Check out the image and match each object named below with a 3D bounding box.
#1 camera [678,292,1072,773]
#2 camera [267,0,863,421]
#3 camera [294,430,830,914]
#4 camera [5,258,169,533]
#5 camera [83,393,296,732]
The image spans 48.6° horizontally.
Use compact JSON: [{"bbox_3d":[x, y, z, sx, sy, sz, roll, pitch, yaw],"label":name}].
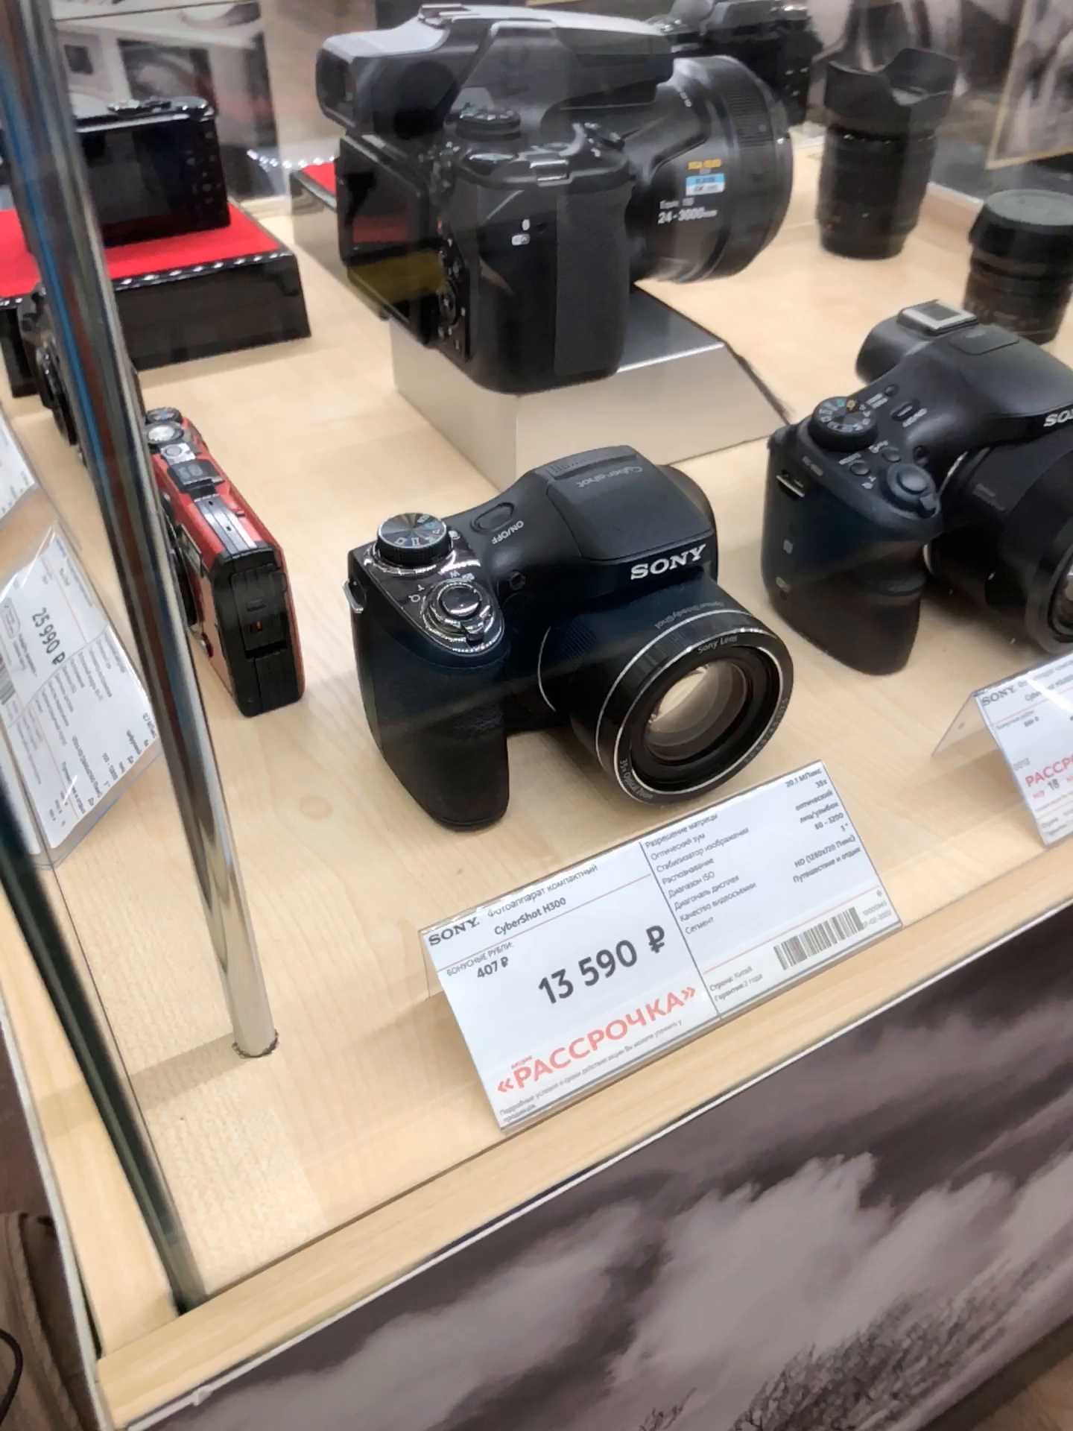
[{"bbox_3d":[0.141,-0.073,0.428,0.124,0.097,0.125,-19,44,-22],"label":"camera"},{"bbox_3d":[0.007,-0.208,0.457,0.168,0.106,0.132,-21,45,-23],"label":"camera"},{"bbox_3d":[0.005,-0.019,0.364,0.124,0.078,0.092,-19,44,-22],"label":"camera"},{"bbox_3d":[-0.187,-0.135,0.491,0.026,0.069,0.112,-19,44,-21],"label":"camera"},{"bbox_3d":[-0.122,-0.056,0.414,0.026,0.069,0.112,-21,45,-23],"label":"camera"}]
